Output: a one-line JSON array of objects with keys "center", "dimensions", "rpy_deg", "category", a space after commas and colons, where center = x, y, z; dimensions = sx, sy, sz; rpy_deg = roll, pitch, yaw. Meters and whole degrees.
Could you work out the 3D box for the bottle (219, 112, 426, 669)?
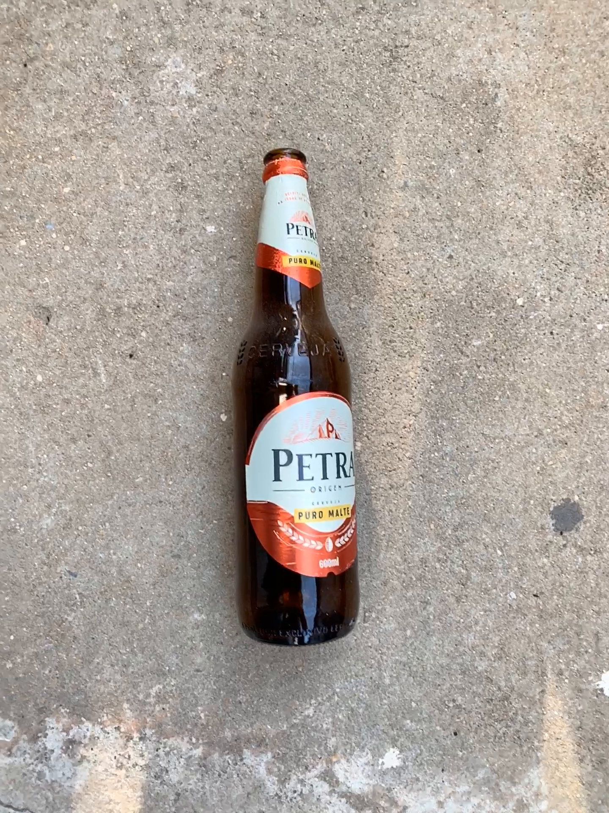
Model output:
[{"center": [0.006, -0.009, 0.351], "dimensions": [0.080, 0.070, 0.270], "rpy_deg": [3, 81, -34], "category": "bottle"}]
